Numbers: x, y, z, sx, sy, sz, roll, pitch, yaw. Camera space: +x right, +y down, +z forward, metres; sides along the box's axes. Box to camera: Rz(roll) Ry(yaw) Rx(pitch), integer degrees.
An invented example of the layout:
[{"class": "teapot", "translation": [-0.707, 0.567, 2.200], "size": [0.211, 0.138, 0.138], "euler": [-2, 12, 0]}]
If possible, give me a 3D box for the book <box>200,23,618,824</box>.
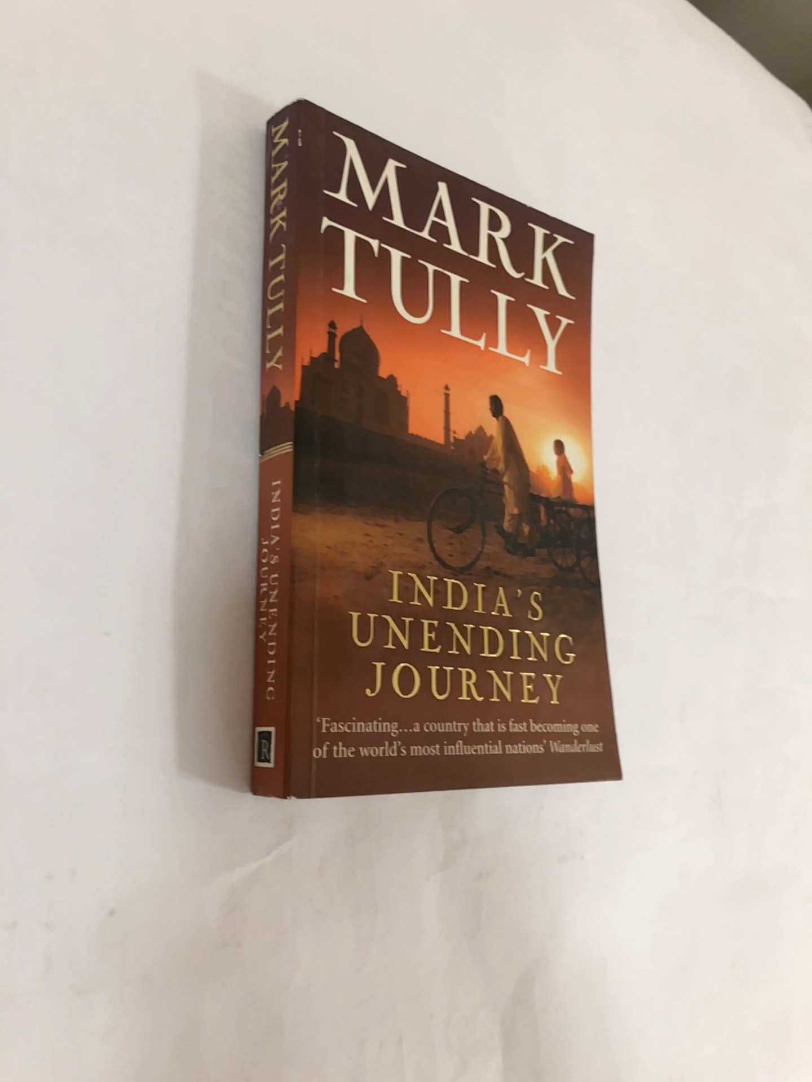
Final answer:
[{"class": "book", "translation": [0.007, -0.028, 0.279], "size": [0.131, 0.030, 0.210], "euler": [10, 74, -40]}]
